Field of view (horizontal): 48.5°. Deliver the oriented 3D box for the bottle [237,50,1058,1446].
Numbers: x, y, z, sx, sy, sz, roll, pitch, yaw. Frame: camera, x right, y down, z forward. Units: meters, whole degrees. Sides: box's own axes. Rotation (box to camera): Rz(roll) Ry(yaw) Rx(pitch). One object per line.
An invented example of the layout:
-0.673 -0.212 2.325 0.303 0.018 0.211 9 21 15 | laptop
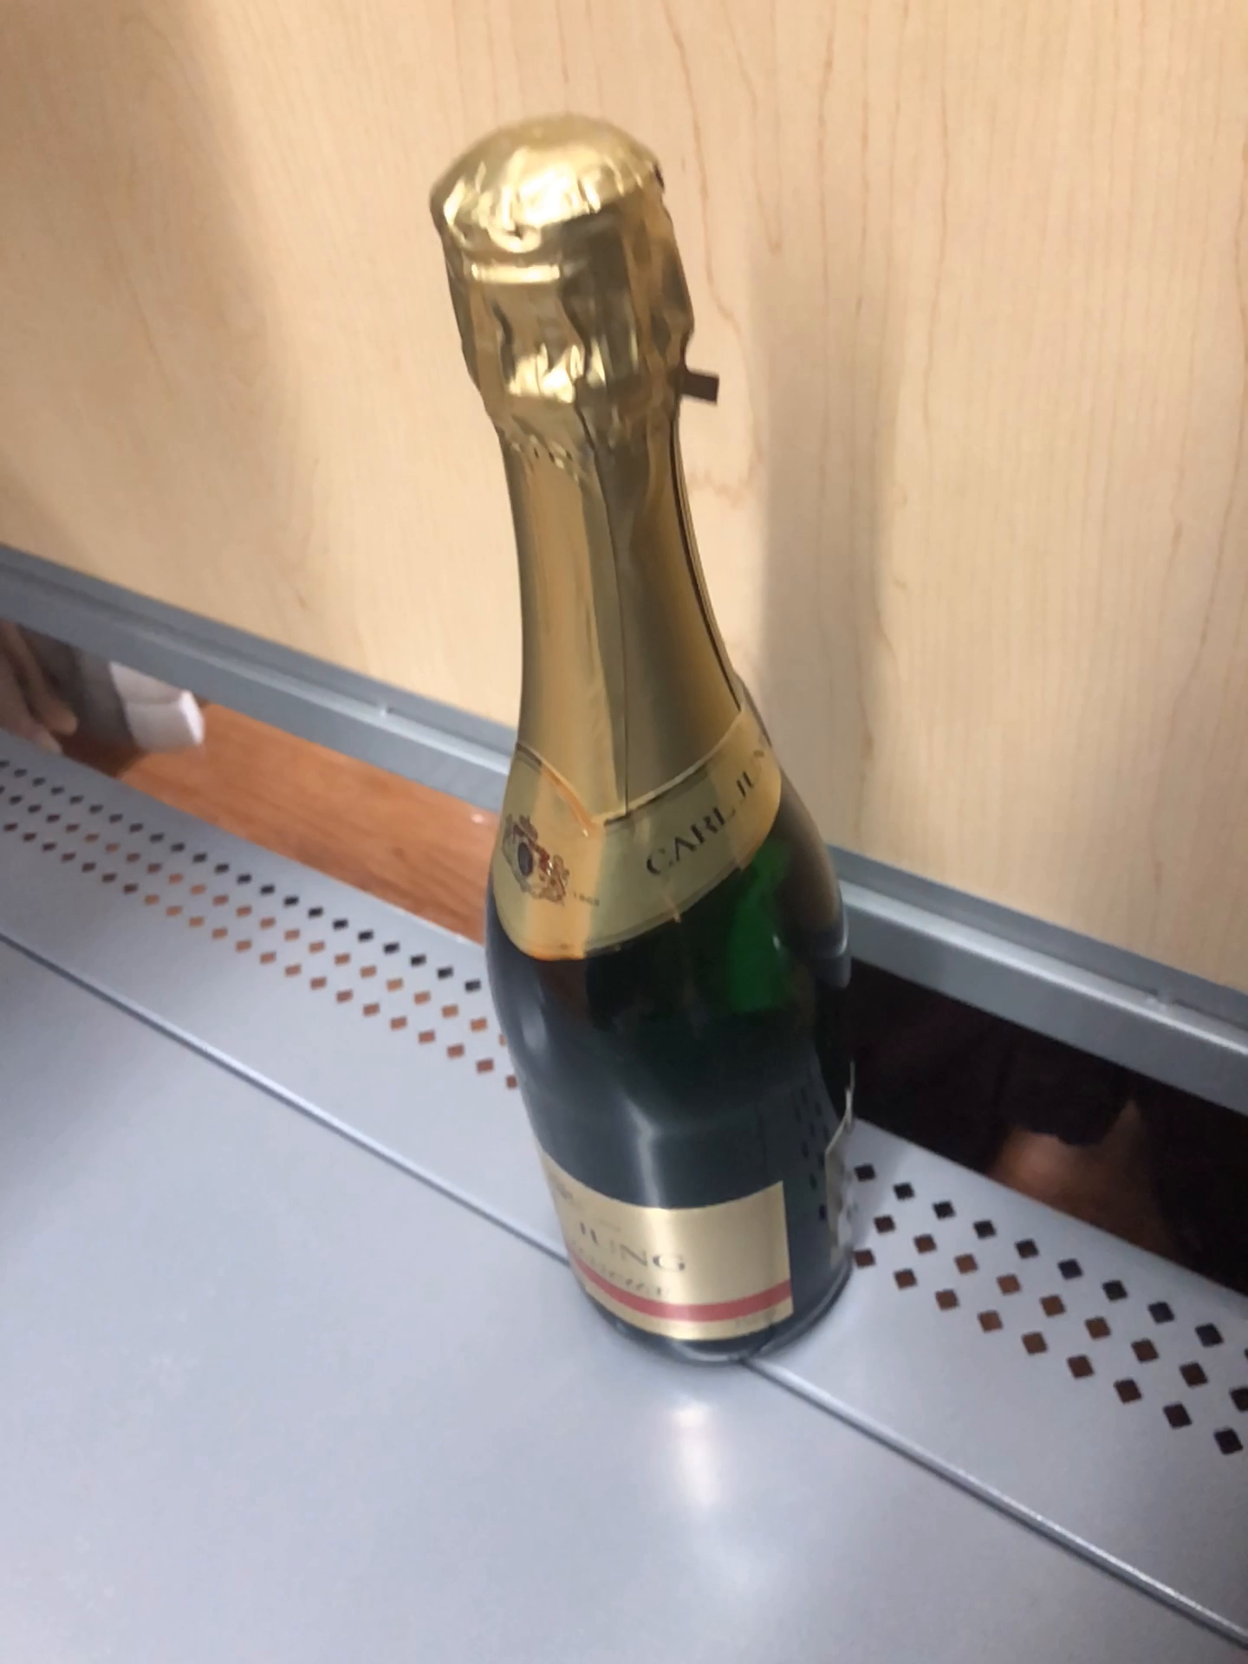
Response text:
0.015 0.011 0.308 0.090 0.298 0.091 -5 43 4 | bottle
